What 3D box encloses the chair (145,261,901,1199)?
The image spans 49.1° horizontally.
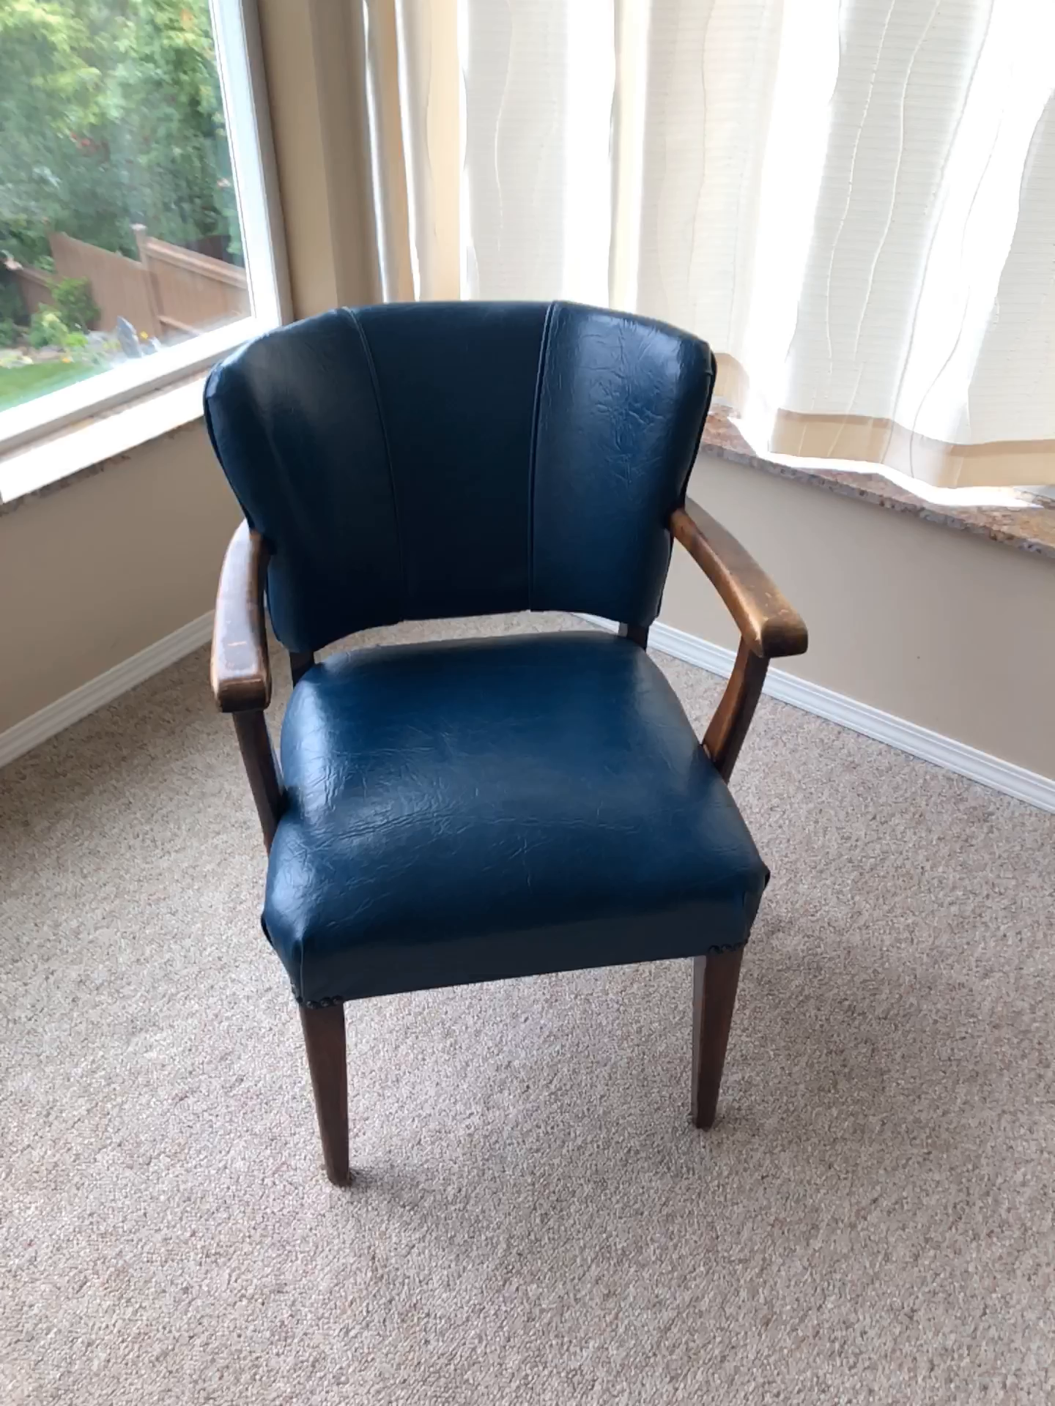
[{"bbox_3d":[-0.043,0.027,1.262,0.530,0.797,0.562,-6,39,-8],"label":"chair"}]
